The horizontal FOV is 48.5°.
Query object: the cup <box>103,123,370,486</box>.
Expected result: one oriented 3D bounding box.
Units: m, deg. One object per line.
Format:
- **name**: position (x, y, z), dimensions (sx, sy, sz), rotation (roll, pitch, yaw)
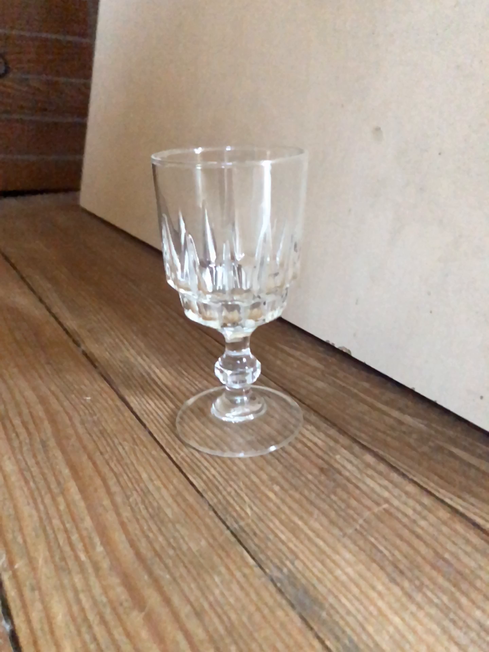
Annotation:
- **cup**: position (-0.003, -0.016, 0.222), dimensions (0.070, 0.119, 0.070), rotation (-1, 24, 0)
